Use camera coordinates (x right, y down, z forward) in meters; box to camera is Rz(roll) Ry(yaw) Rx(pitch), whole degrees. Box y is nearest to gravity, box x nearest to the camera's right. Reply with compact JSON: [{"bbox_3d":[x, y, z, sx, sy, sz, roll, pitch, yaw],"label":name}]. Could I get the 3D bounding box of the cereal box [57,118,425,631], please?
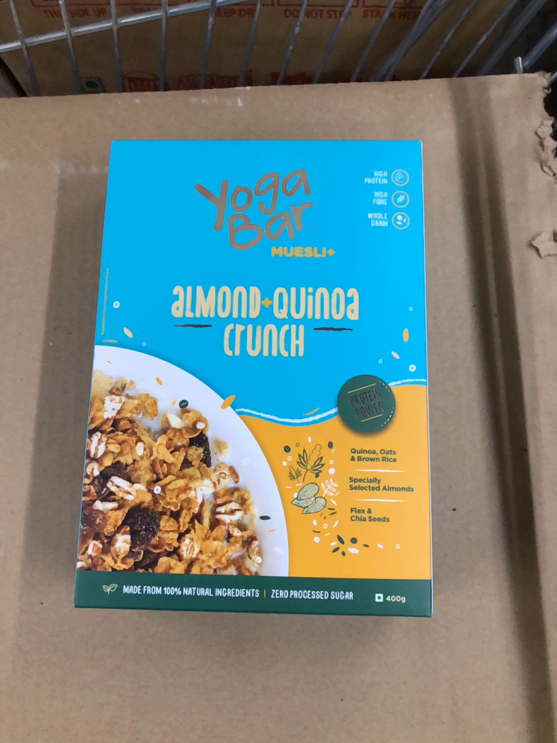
[{"bbox_3d":[-0.015,0.000,0.323,0.160,0.070,0.240,1,81,-1],"label":"cereal box"}]
